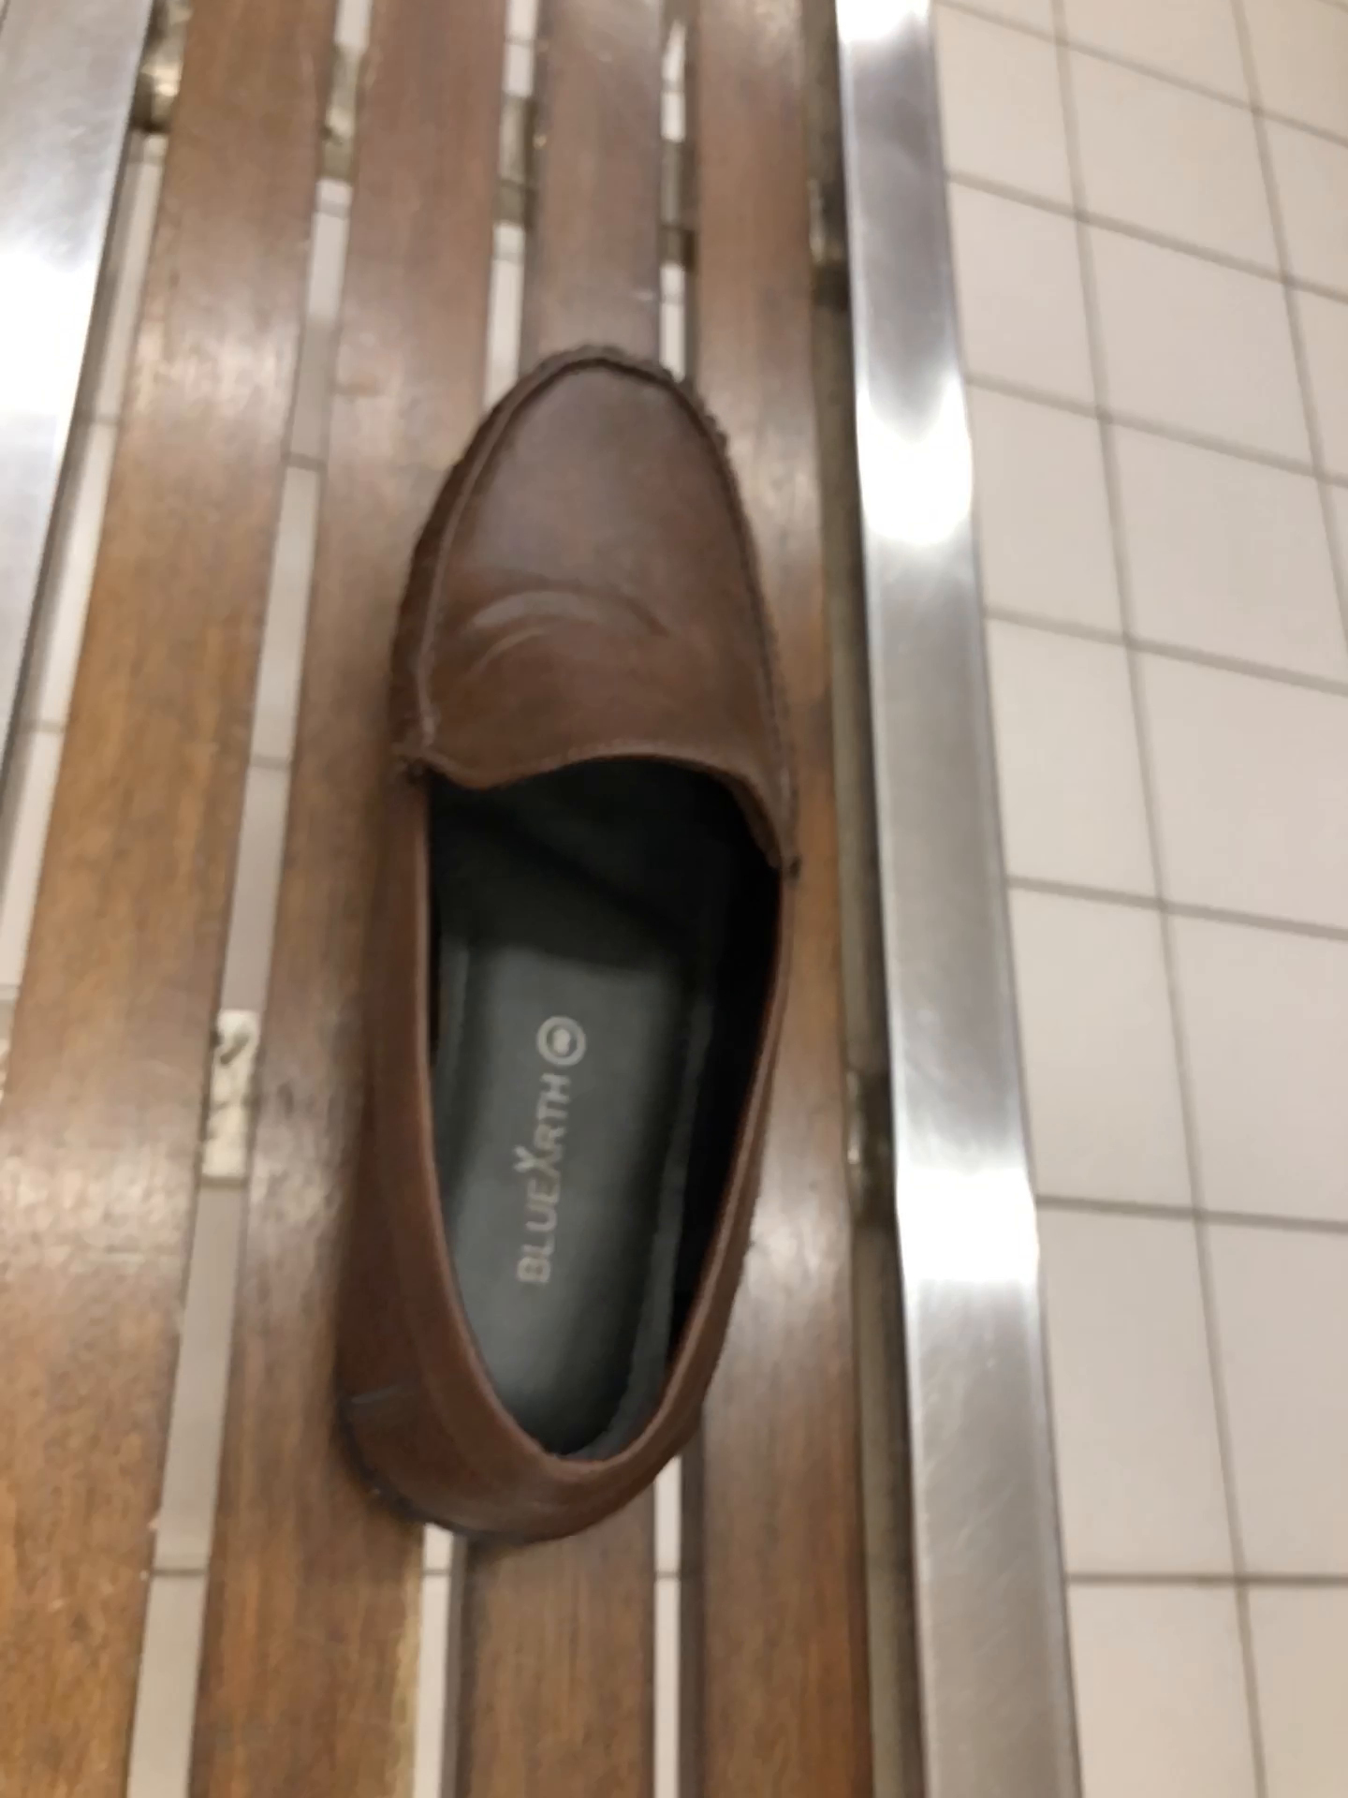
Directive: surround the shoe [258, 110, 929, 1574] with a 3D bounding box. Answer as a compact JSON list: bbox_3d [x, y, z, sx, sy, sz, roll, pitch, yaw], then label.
[{"bbox_3d":[-0.015,-0.016,0.343,0.104,0.093,0.302,10,66,-16],"label":"shoe"}]
